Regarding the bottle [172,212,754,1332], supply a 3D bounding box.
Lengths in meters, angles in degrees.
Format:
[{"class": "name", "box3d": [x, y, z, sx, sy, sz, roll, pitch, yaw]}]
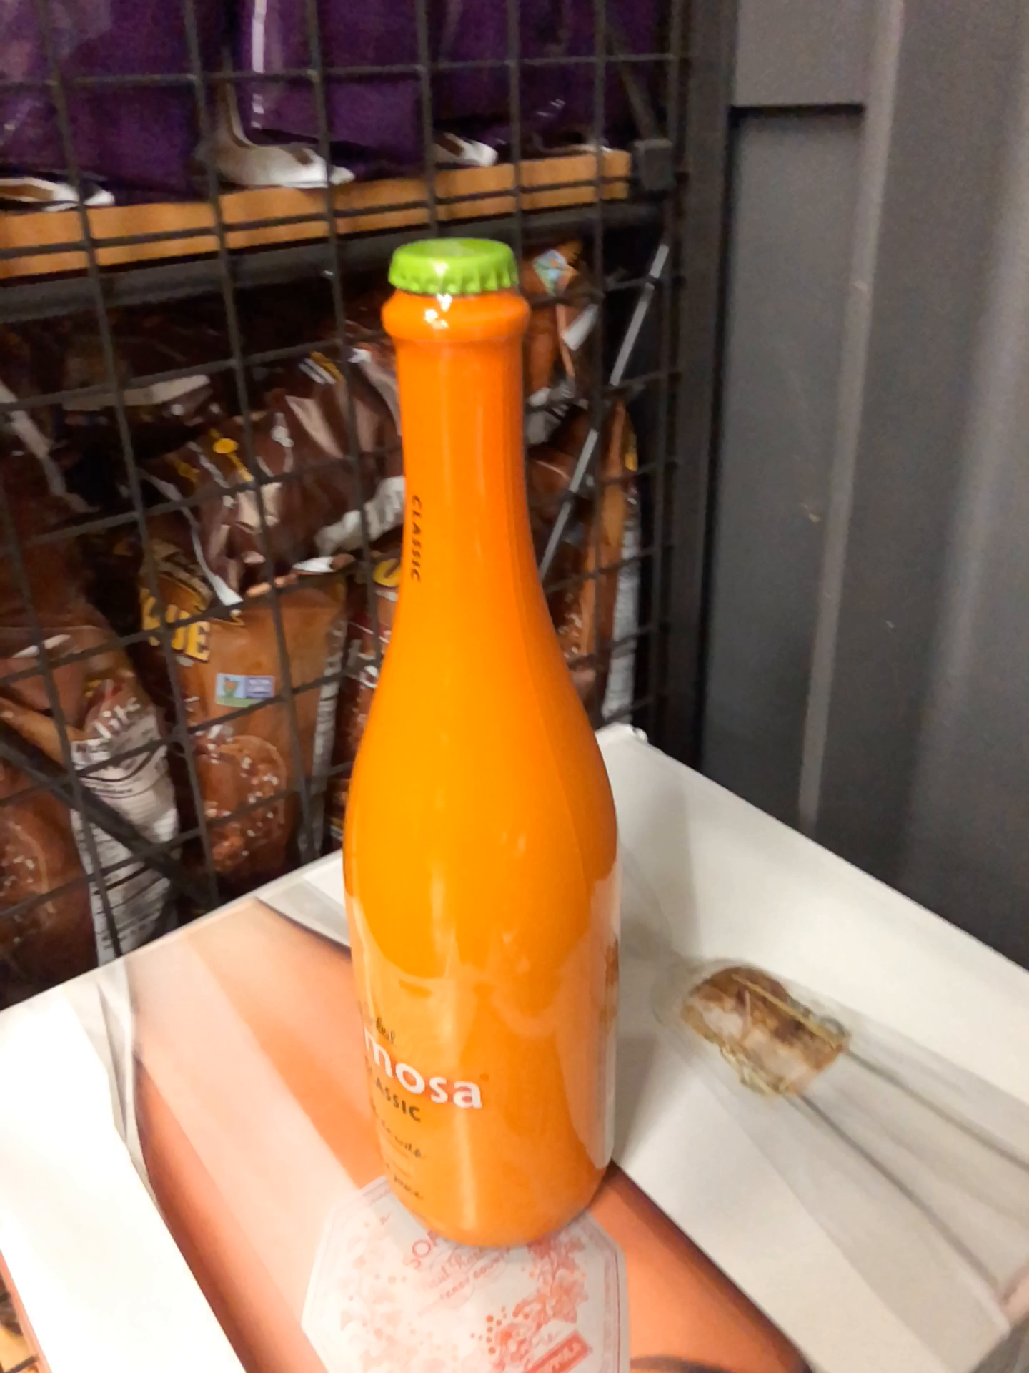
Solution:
[{"class": "bottle", "box3d": [-0.008, 0.027, 0.310, 0.090, 0.279, 0.090, -2, 27, 1]}]
